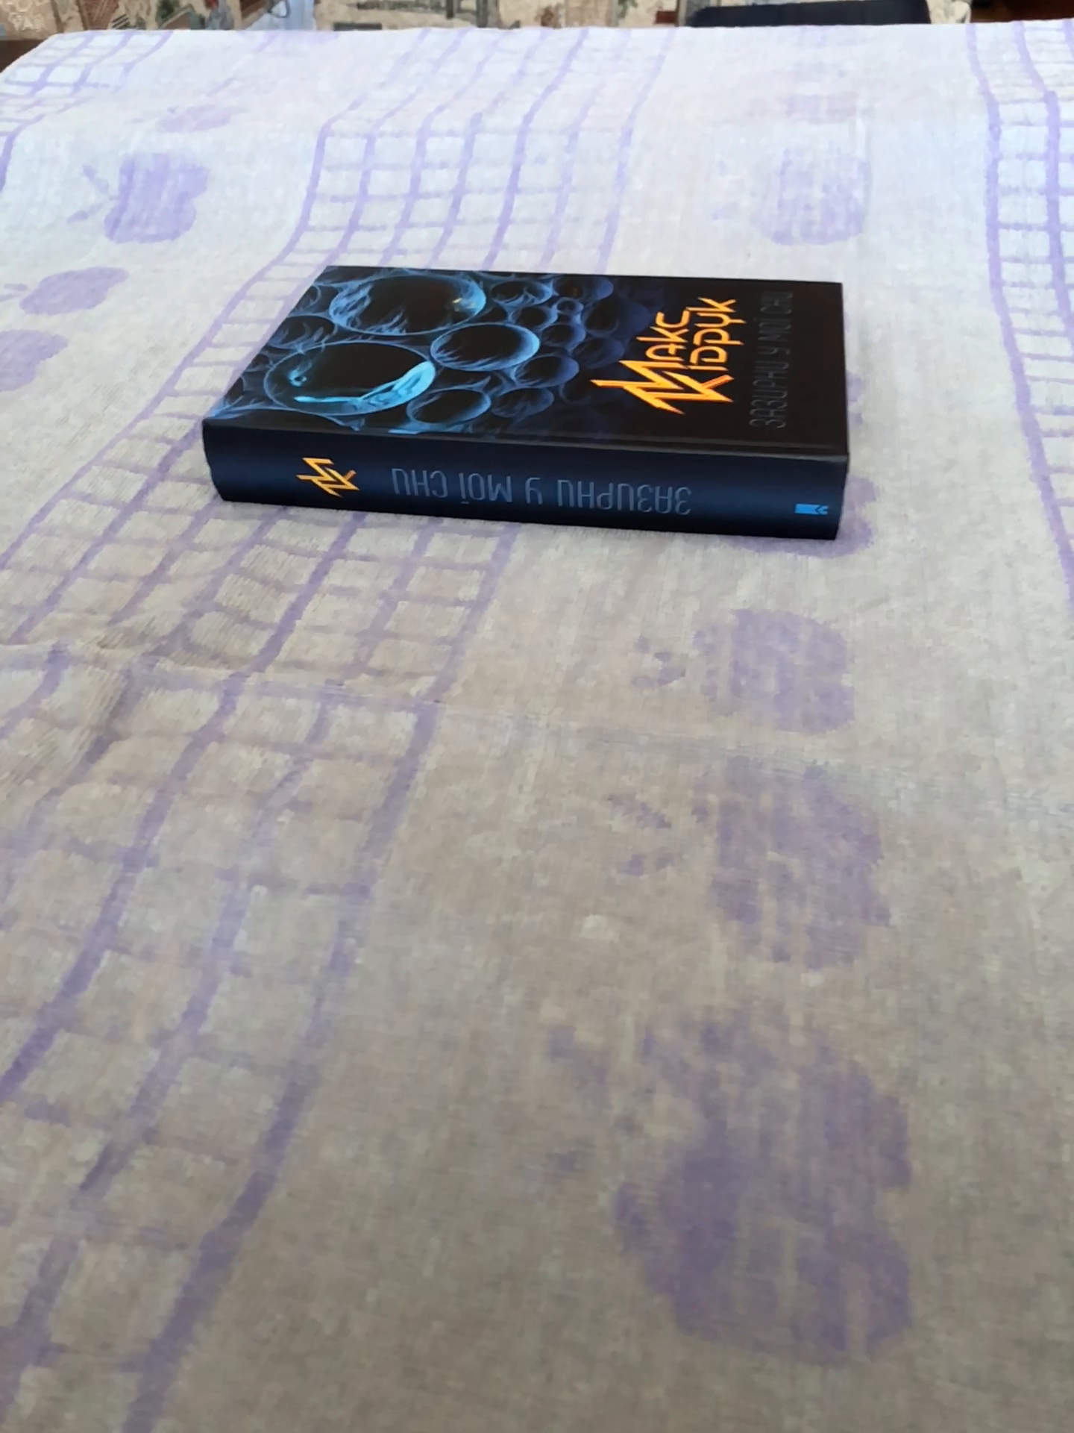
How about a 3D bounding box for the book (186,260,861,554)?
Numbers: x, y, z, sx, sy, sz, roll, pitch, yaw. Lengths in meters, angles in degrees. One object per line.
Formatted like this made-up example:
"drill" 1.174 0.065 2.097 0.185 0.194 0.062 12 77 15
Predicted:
"book" 0.004 -0.123 0.441 0.220 0.035 0.141 6 42 9
